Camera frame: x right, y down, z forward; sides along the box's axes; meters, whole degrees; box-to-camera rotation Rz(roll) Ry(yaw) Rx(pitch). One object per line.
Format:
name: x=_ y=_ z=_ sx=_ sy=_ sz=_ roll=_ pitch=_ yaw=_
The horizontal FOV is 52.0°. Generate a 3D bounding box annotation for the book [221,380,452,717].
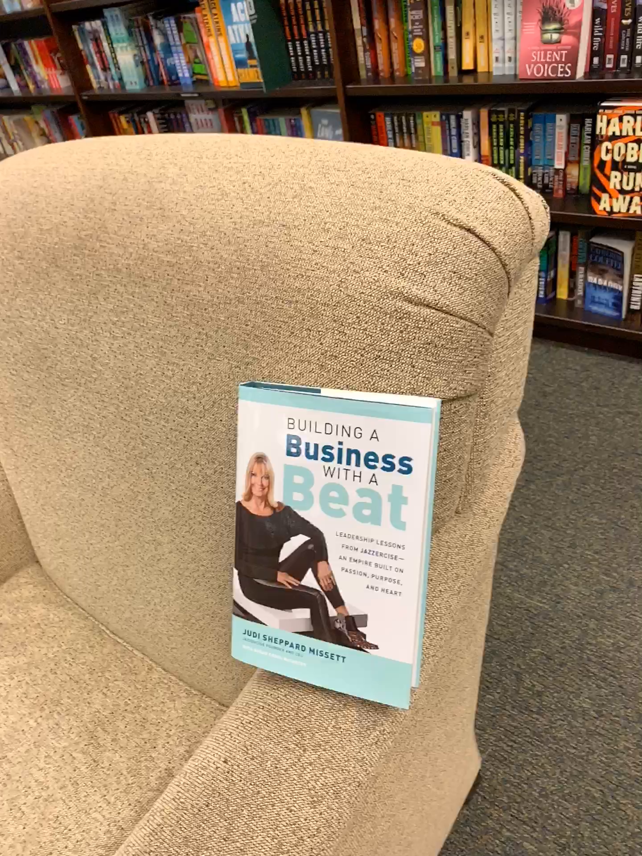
book: x=0.006 y=0.085 z=0.511 sx=0.170 sy=0.230 sz=0.040 roll=6 pitch=12 yaw=25
